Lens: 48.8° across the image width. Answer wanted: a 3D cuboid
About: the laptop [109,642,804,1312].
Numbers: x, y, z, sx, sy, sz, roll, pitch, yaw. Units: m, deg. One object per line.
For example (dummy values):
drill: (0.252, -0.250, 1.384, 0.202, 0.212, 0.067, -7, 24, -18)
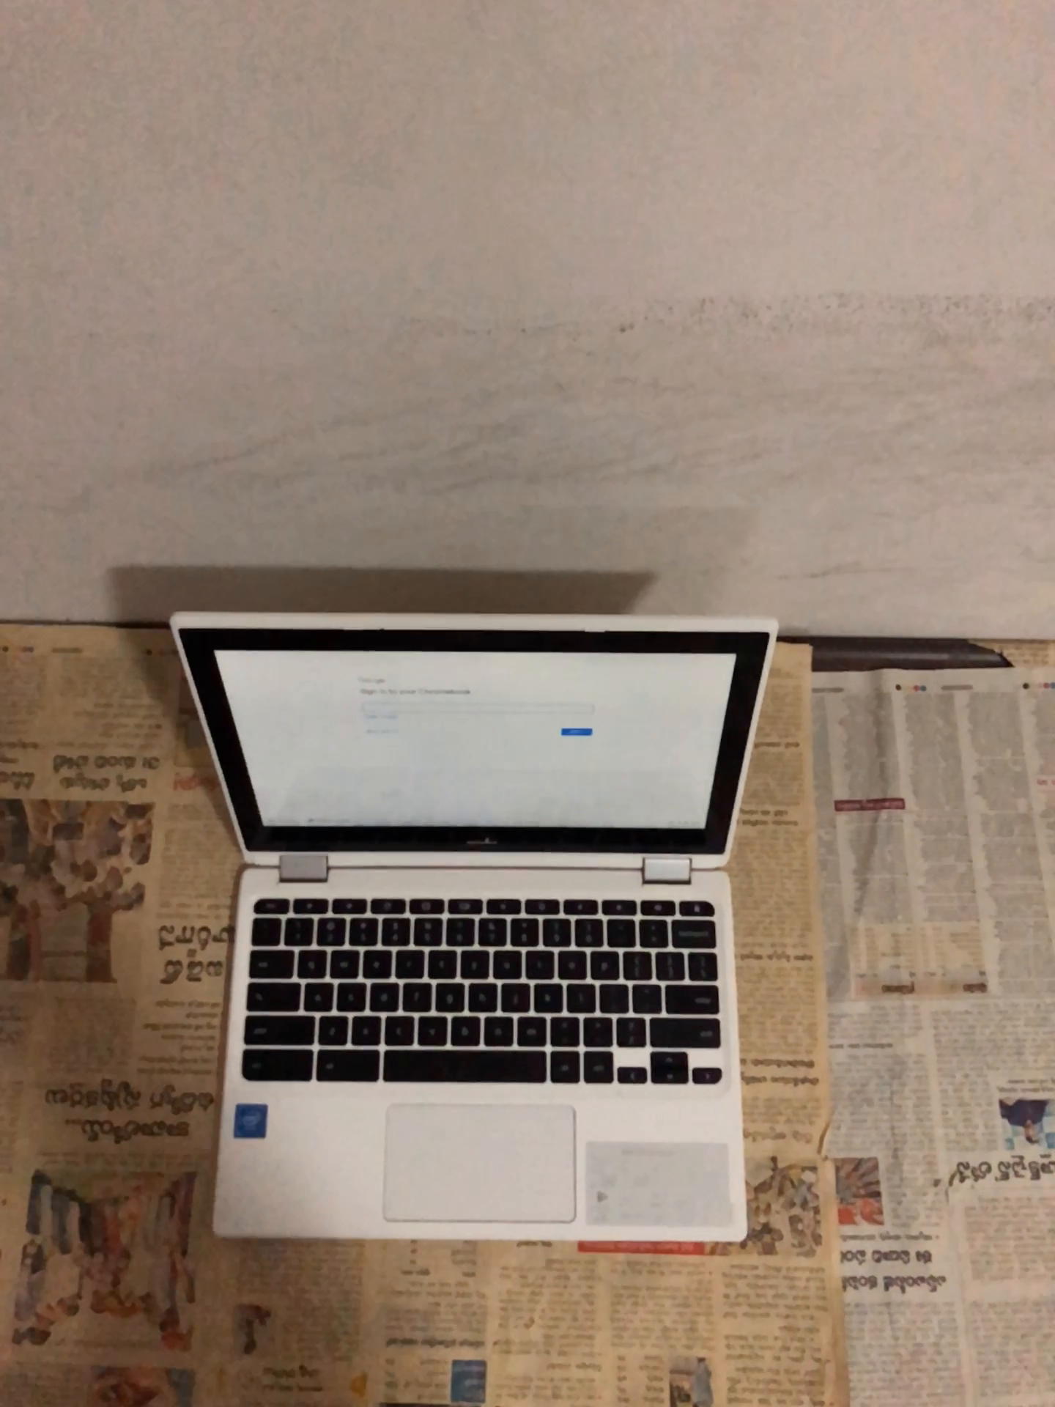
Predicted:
laptop: (-0.026, 0.128, 0.575, 0.268, 0.168, 0.278, 0, 71, 0)
